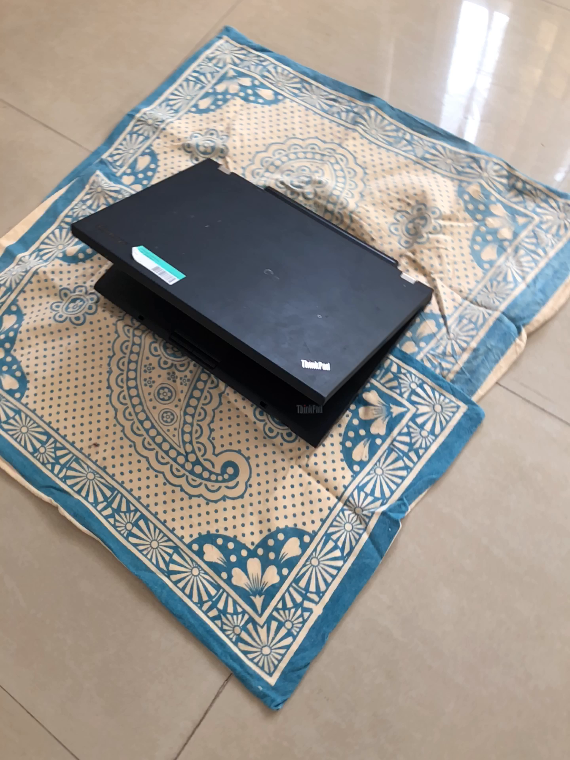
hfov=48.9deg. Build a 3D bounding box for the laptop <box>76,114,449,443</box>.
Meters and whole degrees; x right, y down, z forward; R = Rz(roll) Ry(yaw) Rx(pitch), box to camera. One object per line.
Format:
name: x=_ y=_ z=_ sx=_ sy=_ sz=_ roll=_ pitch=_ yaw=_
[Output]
laptop: x=-0.029 y=-0.133 z=0.747 sx=0.348 sy=0.125 sz=0.241 roll=36 pitch=74 yaw=22
